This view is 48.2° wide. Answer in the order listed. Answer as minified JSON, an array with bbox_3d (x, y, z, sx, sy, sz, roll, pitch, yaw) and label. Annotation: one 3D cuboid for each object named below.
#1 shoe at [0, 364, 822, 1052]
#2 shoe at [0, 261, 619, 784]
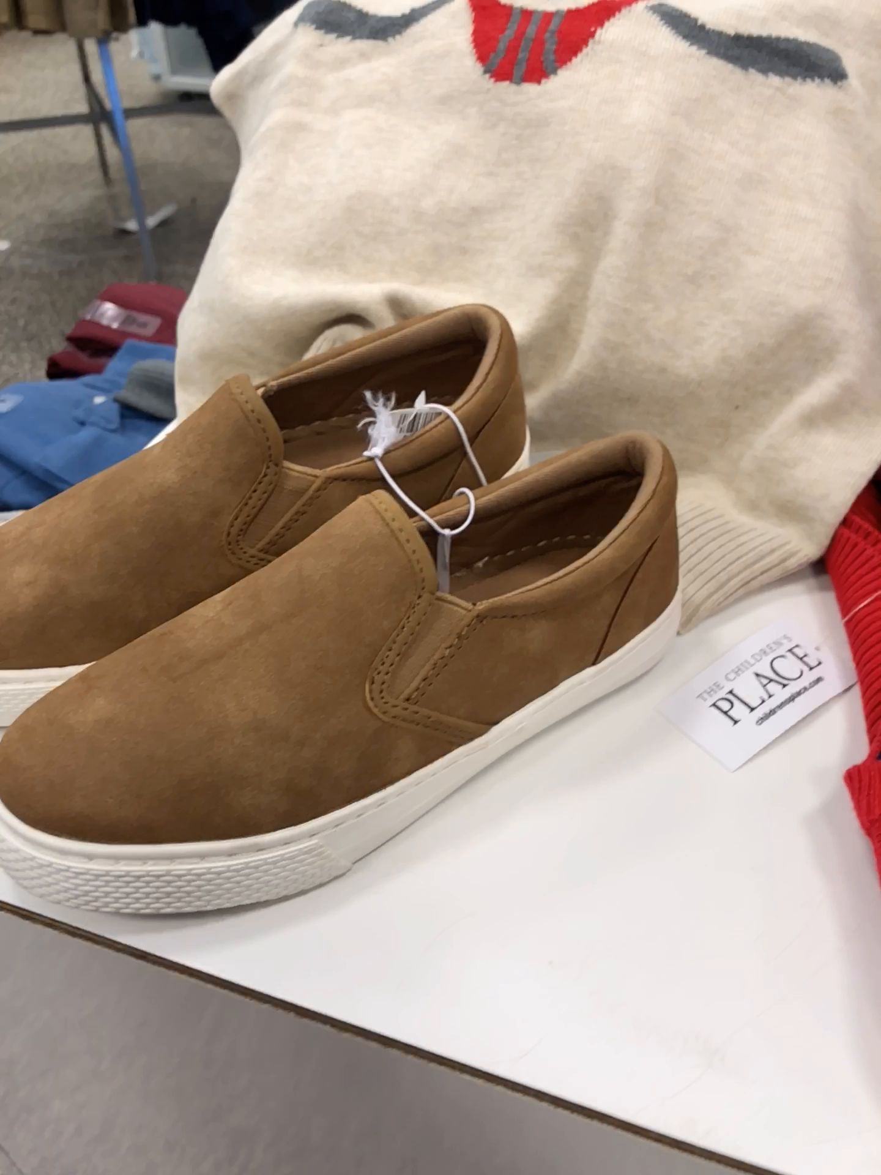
[{"bbox_3d":[-0.013,0.018,0.292,0.230,0.080,0.093,-22,45,-23],"label":"shoe"},{"bbox_3d":[-0.067,-0.034,0.332,0.230,0.080,0.093,-18,44,-20],"label":"shoe"}]
